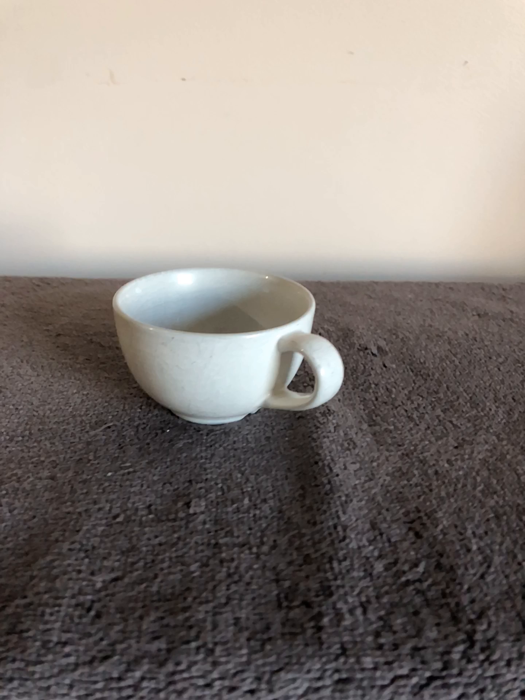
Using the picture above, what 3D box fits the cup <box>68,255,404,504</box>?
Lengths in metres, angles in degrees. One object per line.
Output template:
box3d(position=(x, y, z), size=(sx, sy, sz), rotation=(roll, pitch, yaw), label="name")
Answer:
box3d(position=(-0.014, 0.001, 0.268), size=(0.120, 0.050, 0.090), rotation=(23, 33, 38), label="cup")
